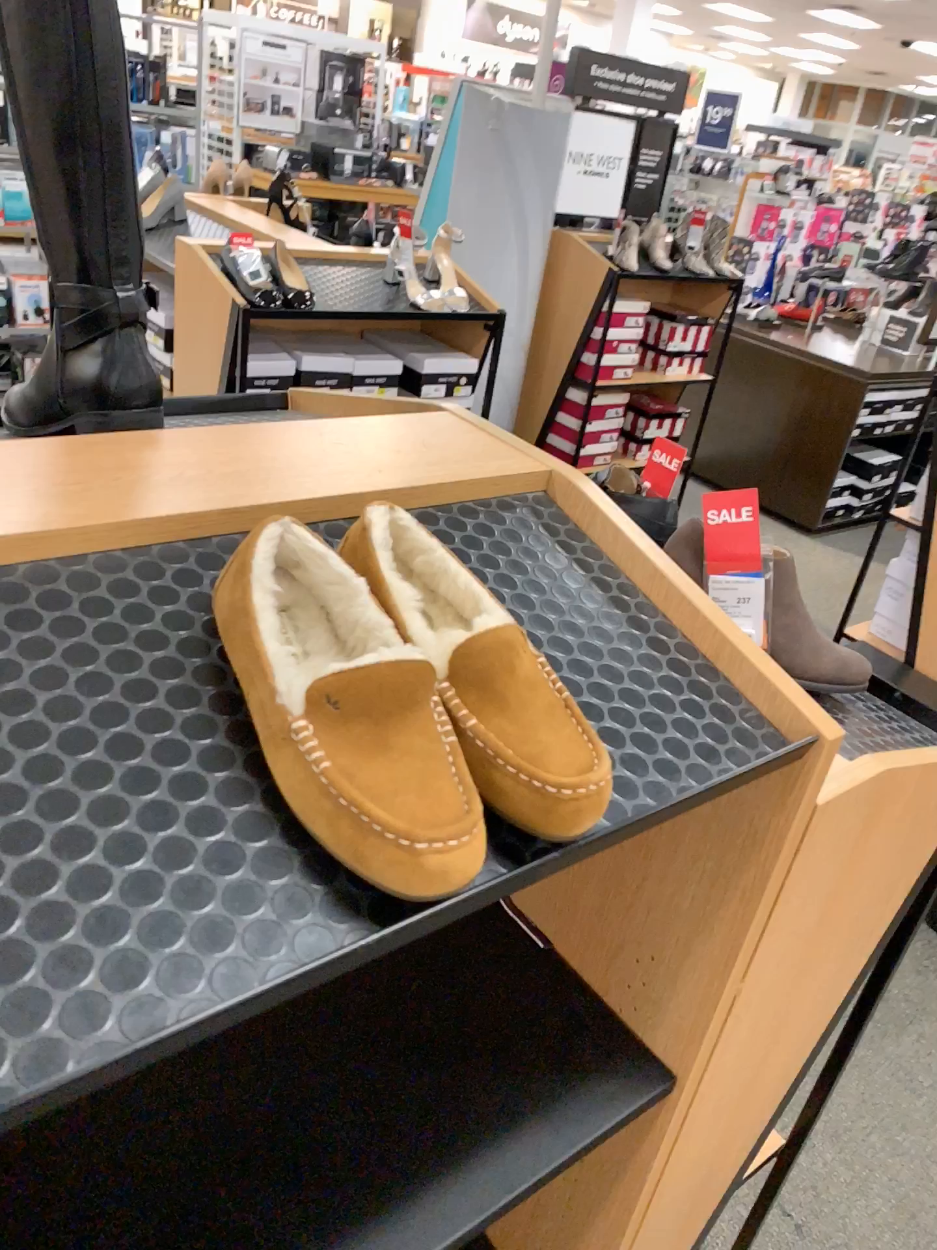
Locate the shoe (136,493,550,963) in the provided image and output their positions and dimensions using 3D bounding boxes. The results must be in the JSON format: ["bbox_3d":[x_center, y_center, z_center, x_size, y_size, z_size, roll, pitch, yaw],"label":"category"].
[{"bbox_3d":[-0.081,0.034,0.506,0.090,0.060,0.271,-13,47,-36],"label":"shoe"}]

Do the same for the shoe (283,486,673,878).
[{"bbox_3d":[-0.007,0.017,0.555,0.090,0.060,0.251,-13,47,-36],"label":"shoe"}]
